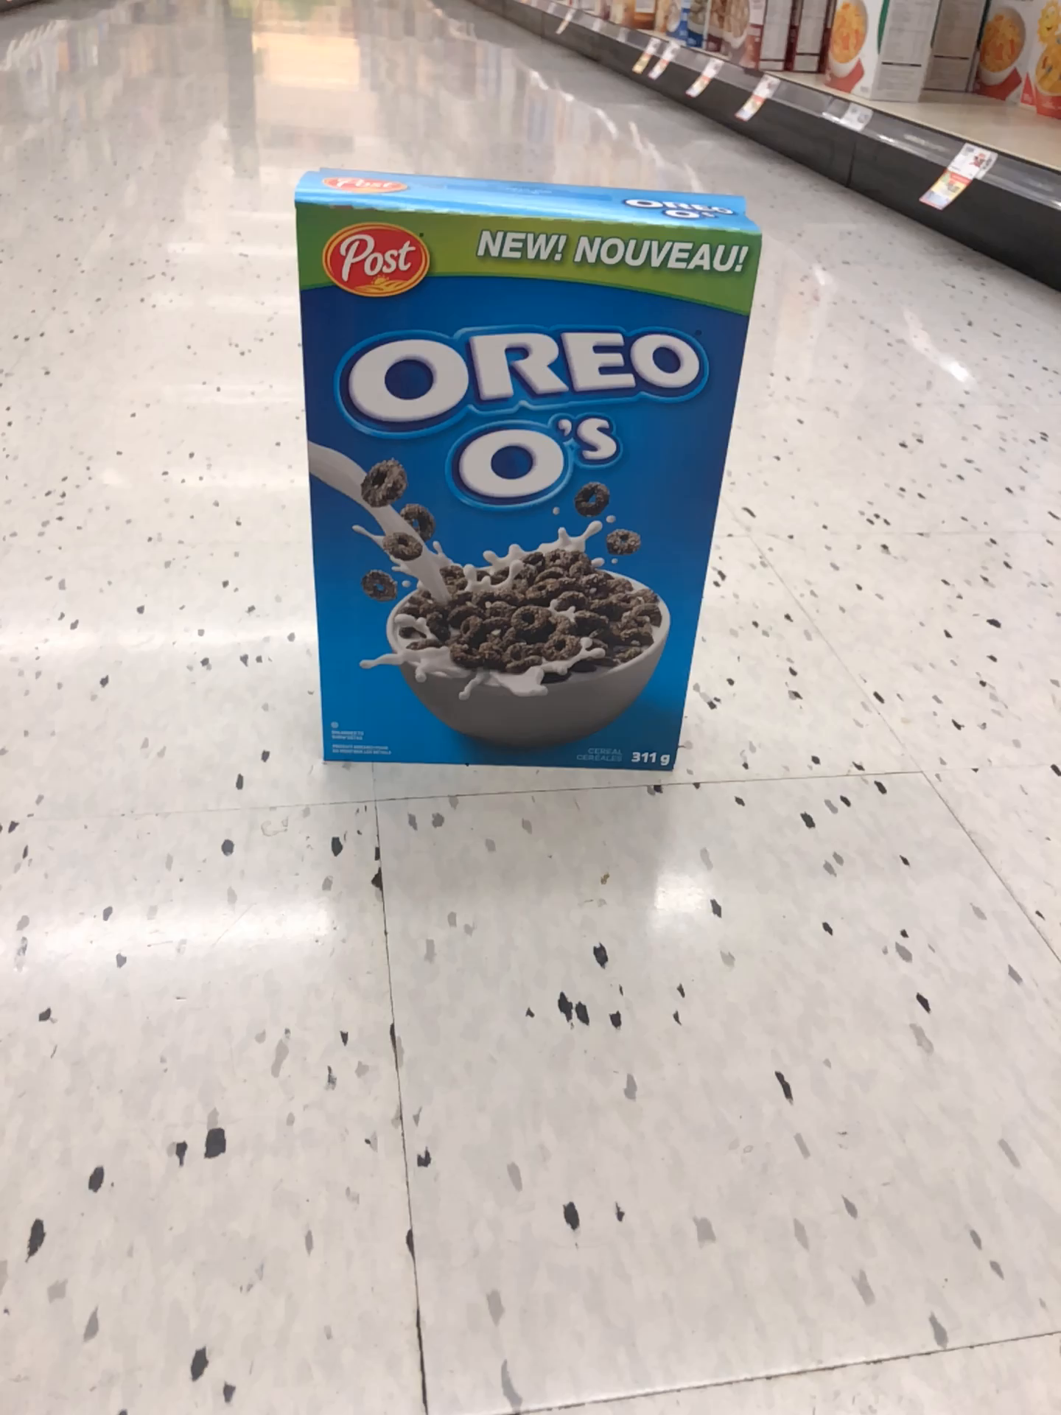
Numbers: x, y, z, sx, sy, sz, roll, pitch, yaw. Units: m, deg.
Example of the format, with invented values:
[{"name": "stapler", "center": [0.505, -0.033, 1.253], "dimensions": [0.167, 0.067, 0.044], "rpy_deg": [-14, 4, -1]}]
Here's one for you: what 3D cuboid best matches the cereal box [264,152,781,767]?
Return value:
[{"name": "cereal box", "center": [-0.011, -0.103, 0.549], "dimensions": [0.200, 0.268, 0.060], "rpy_deg": [2, 33, -3]}]
